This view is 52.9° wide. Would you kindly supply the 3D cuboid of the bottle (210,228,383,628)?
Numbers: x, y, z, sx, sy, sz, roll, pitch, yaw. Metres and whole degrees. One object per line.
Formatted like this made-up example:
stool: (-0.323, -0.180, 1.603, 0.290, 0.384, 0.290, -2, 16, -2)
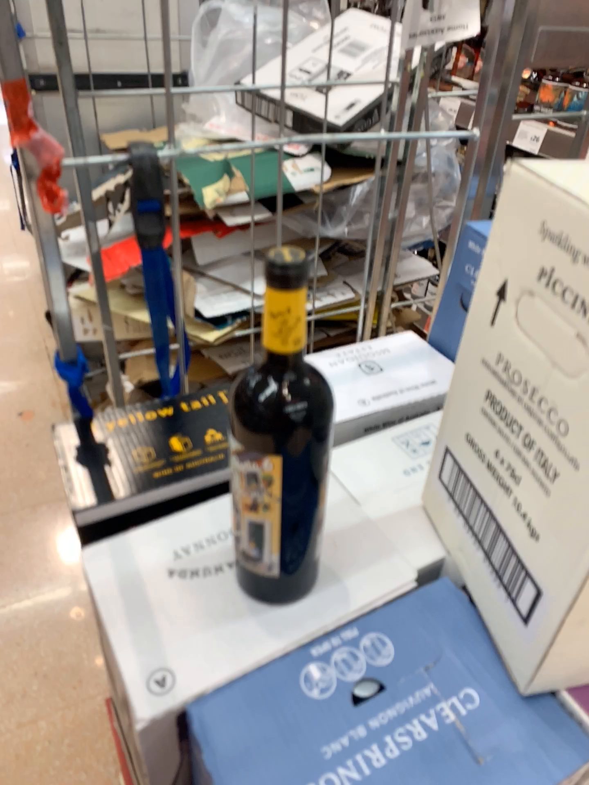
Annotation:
bottle: (-0.011, 0.040, 0.436, 0.077, 0.295, 0.079, 3, 35, -2)
